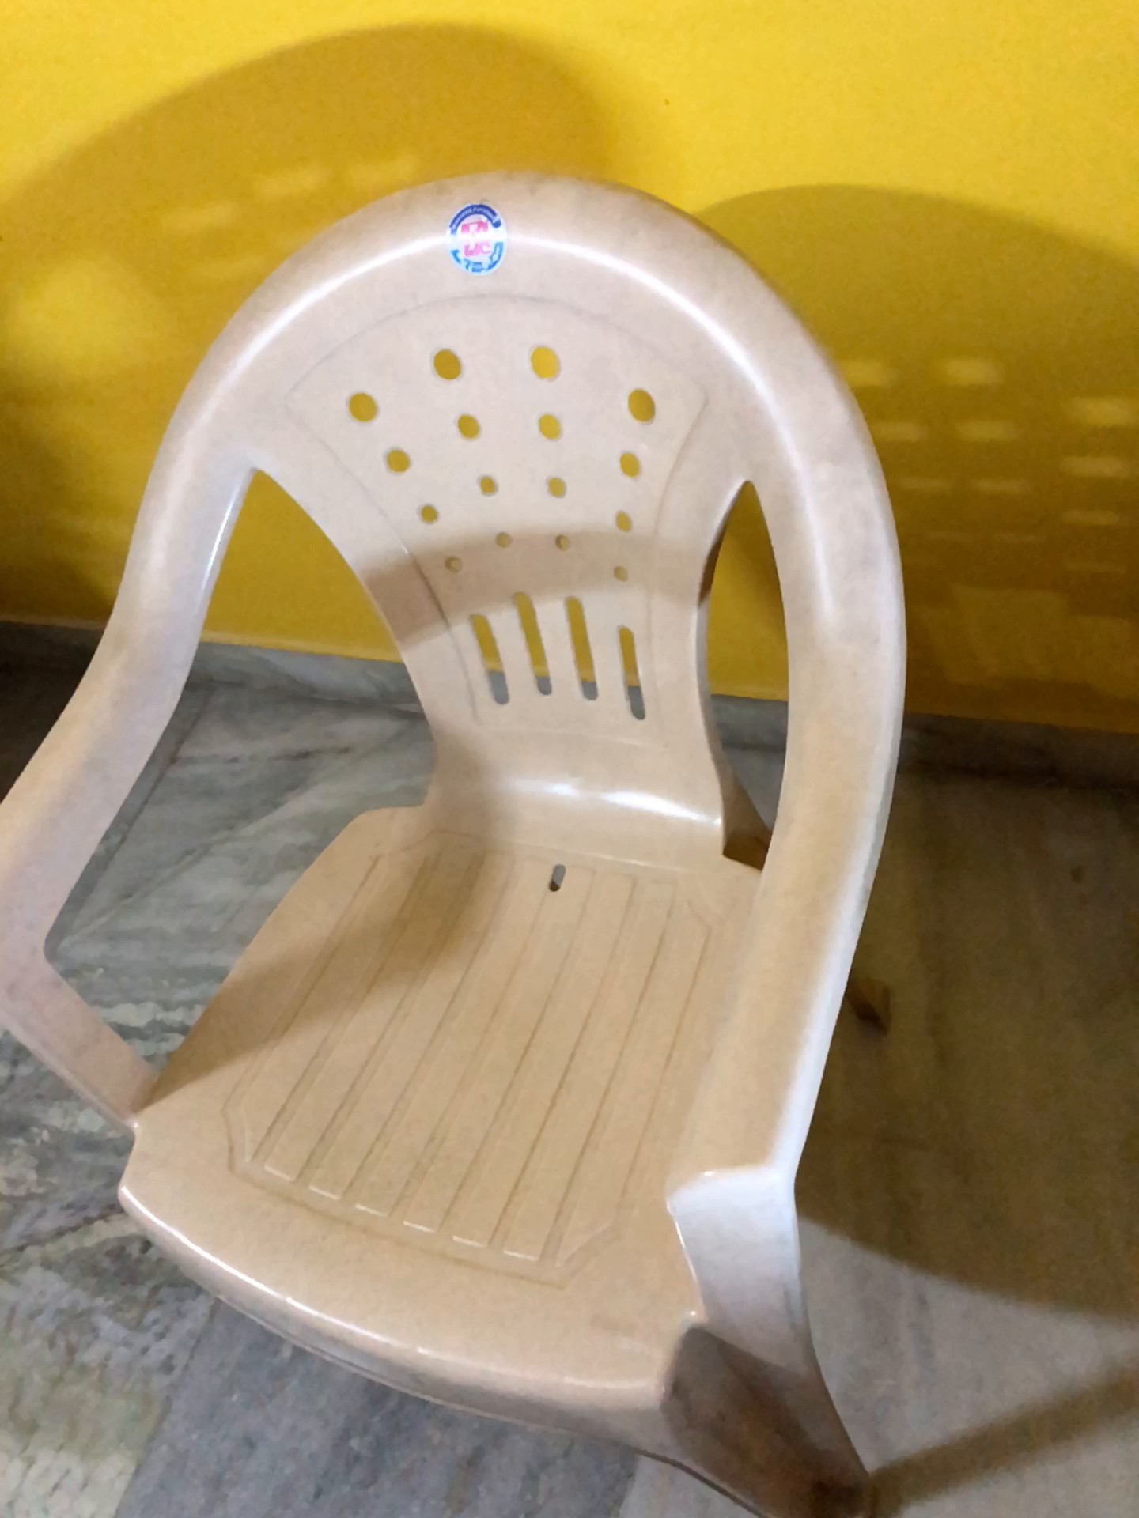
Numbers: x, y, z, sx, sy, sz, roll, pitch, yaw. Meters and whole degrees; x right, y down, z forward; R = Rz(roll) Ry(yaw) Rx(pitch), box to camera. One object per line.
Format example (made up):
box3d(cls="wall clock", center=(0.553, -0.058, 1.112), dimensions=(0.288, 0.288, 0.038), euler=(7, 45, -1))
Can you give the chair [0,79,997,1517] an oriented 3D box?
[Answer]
box3d(cls="chair", center=(-0.059, 0.118, 0.846), dimensions=(0.530, 0.787, 0.562), euler=(7, 58, 27))
